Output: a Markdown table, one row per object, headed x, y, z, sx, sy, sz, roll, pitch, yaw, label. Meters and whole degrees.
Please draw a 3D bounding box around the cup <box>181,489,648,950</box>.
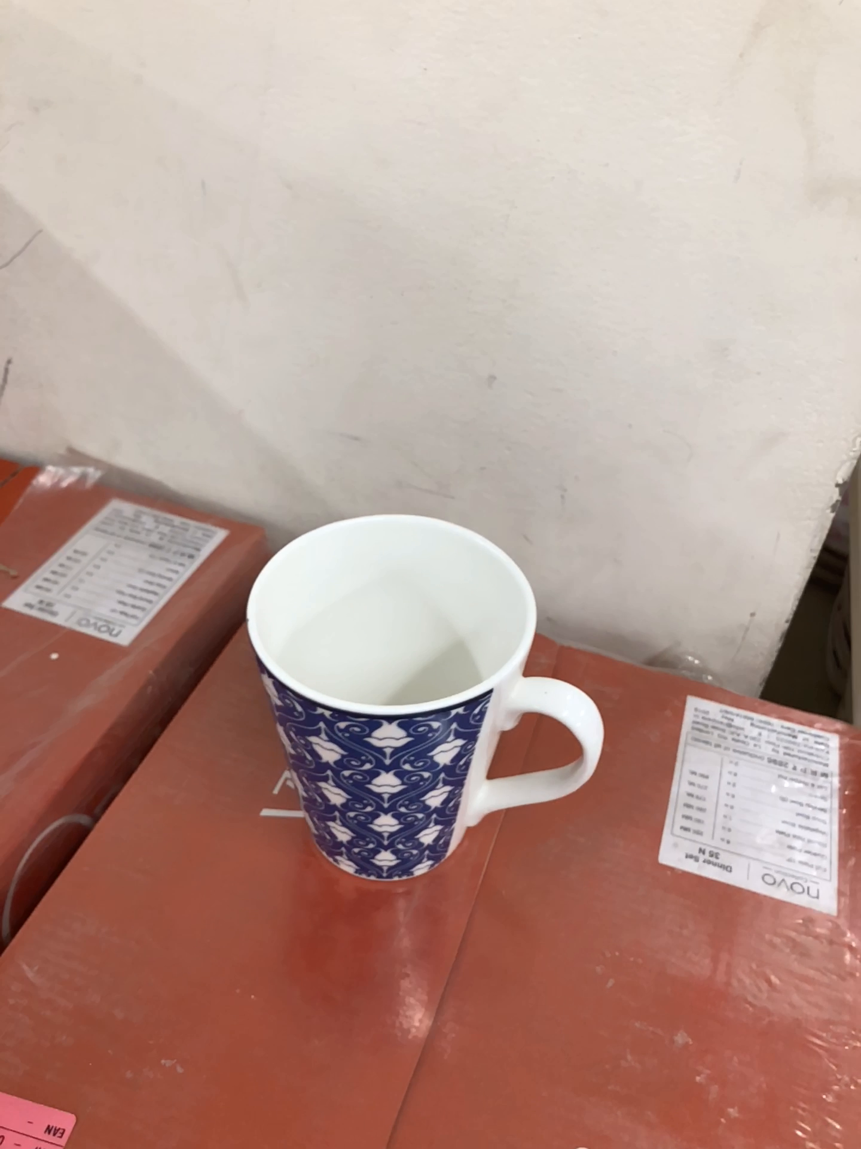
| x | y | z | sx | sy | sz | roll | pitch | yaw | label |
| --- | --- | --- | --- | --- | --- | --- | --- | --- | --- |
| -0.002 | 0.046 | 0.308 | 0.120 | 0.099 | 0.081 | 10 | 42 | 6 | cup |
